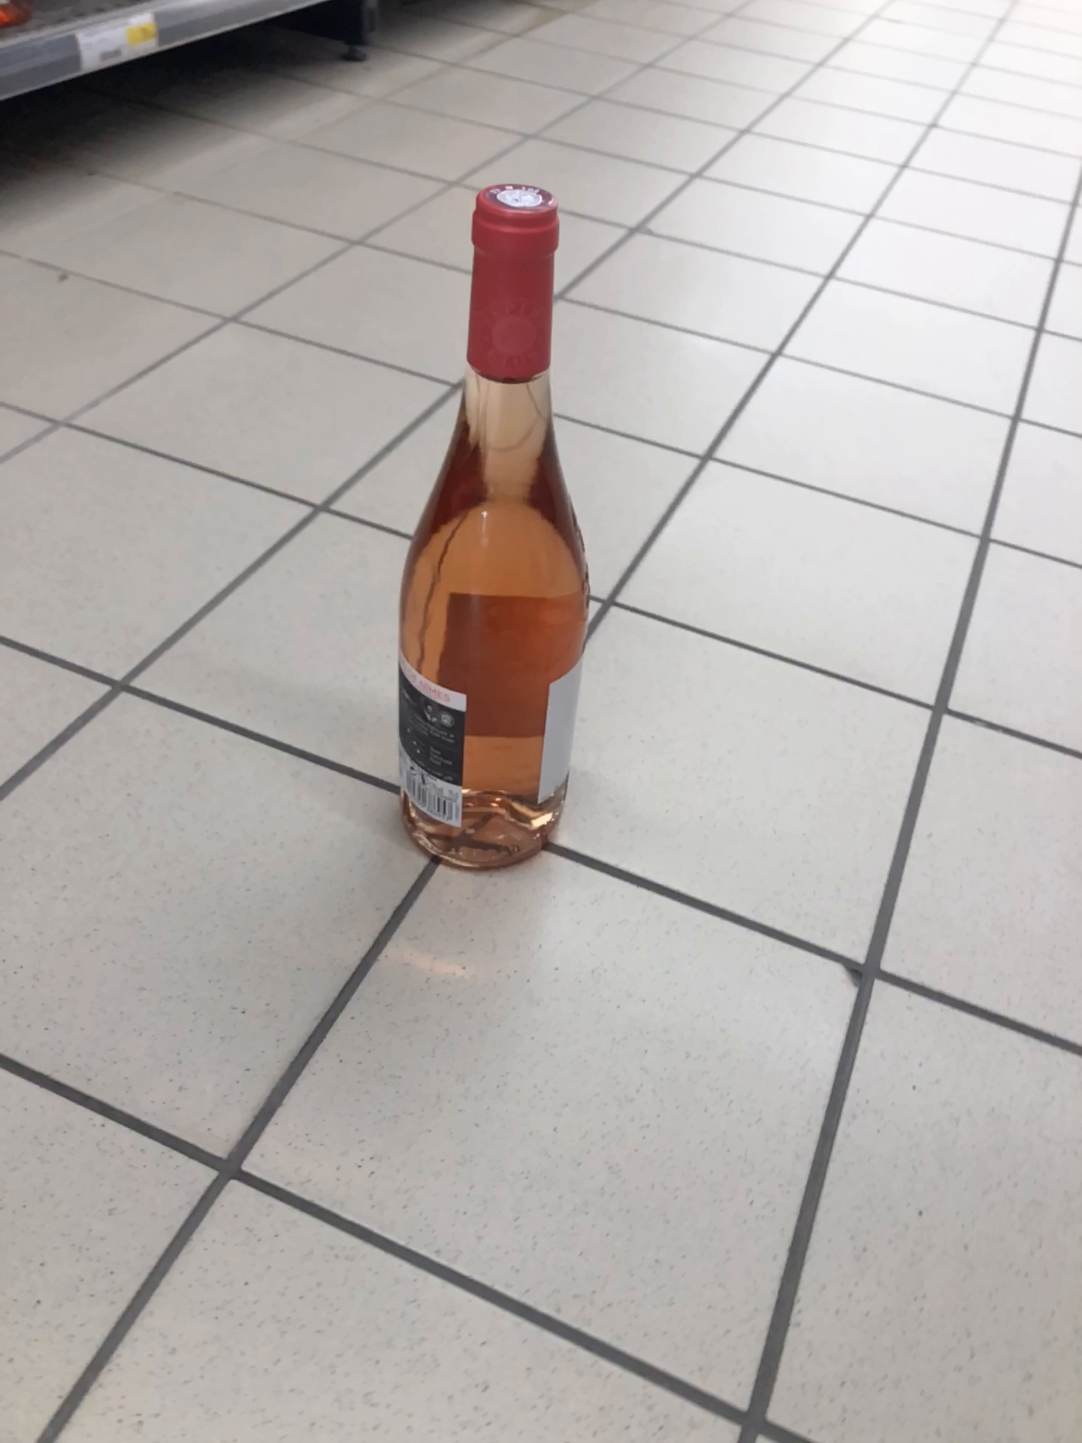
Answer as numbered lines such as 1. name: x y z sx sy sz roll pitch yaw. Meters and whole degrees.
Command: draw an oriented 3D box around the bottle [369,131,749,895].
1. bottle: -0.009 -0.068 0.469 0.090 0.278 0.090 4 41 -4
